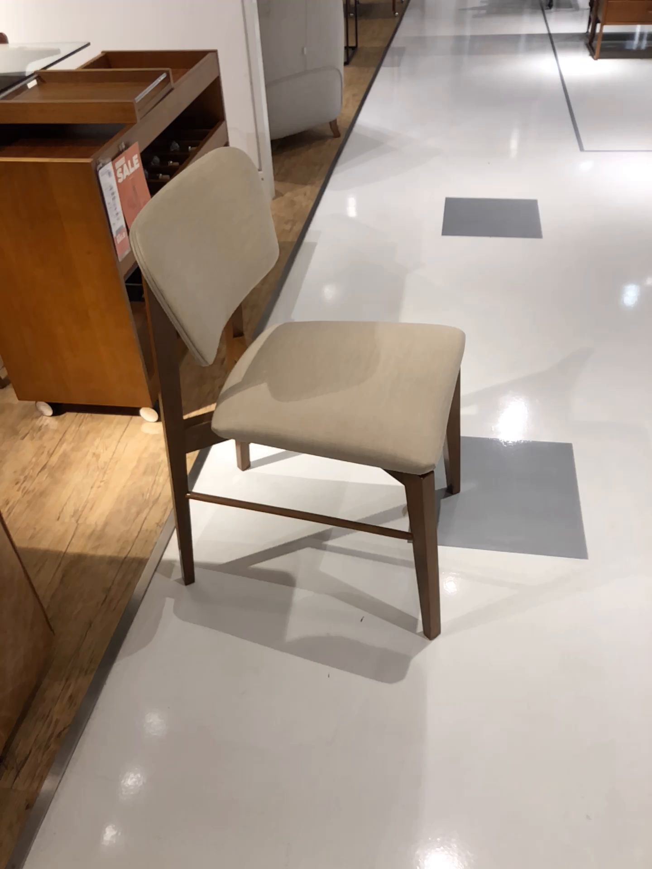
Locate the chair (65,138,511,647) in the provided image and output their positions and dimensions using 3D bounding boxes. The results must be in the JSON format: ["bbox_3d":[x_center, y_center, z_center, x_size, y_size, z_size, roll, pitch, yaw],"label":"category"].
[{"bbox_3d":[-0.003,-0.086,1.383,0.590,0.764,0.514,7,41,13],"label":"chair"}]
